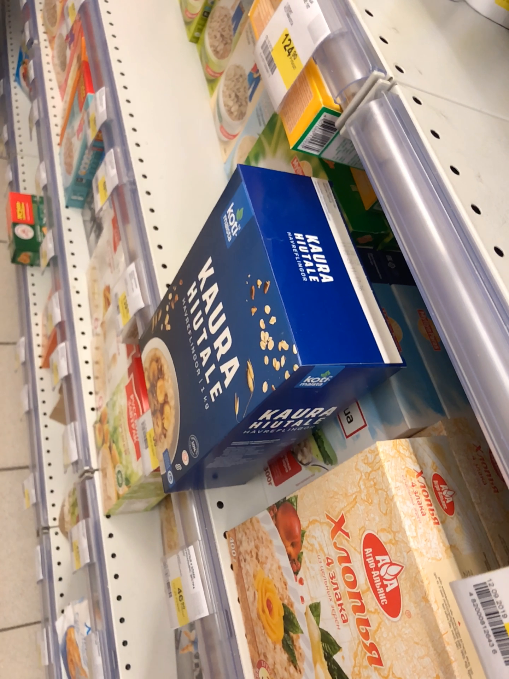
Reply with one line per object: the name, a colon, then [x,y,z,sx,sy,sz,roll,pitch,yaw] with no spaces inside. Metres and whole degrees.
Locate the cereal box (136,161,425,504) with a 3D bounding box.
cereal box: [-0.005,0.011,0.425,0.080,0.229,0.150,1,59,-31]
